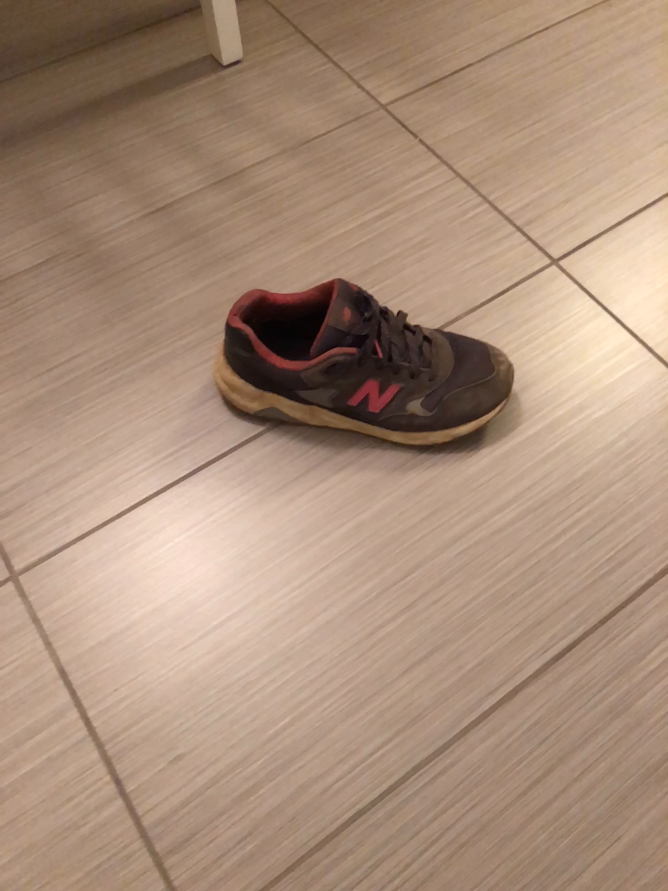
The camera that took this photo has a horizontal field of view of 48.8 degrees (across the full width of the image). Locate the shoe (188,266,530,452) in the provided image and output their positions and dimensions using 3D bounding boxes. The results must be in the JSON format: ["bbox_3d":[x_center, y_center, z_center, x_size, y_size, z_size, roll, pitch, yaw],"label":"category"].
[{"bbox_3d":[0.025,-0.076,0.638,0.270,0.070,0.120,5,61,3],"label":"shoe"}]
